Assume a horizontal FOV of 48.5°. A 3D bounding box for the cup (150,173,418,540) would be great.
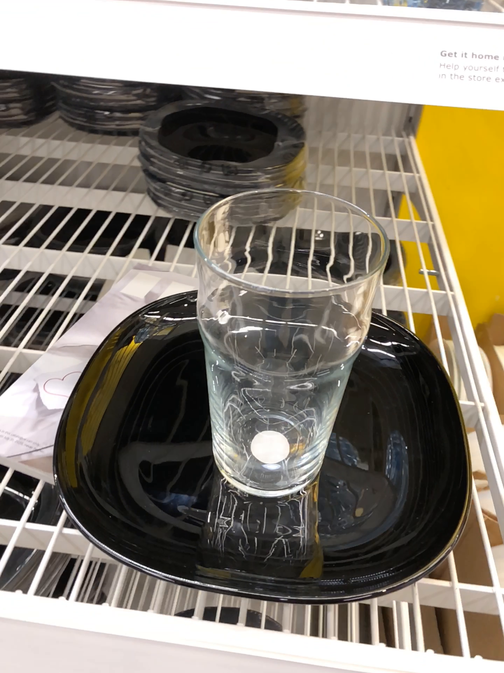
[{"bbox_3d":[0.015,0.009,0.283,0.090,0.139,0.090,3,38,-2],"label":"cup"}]
